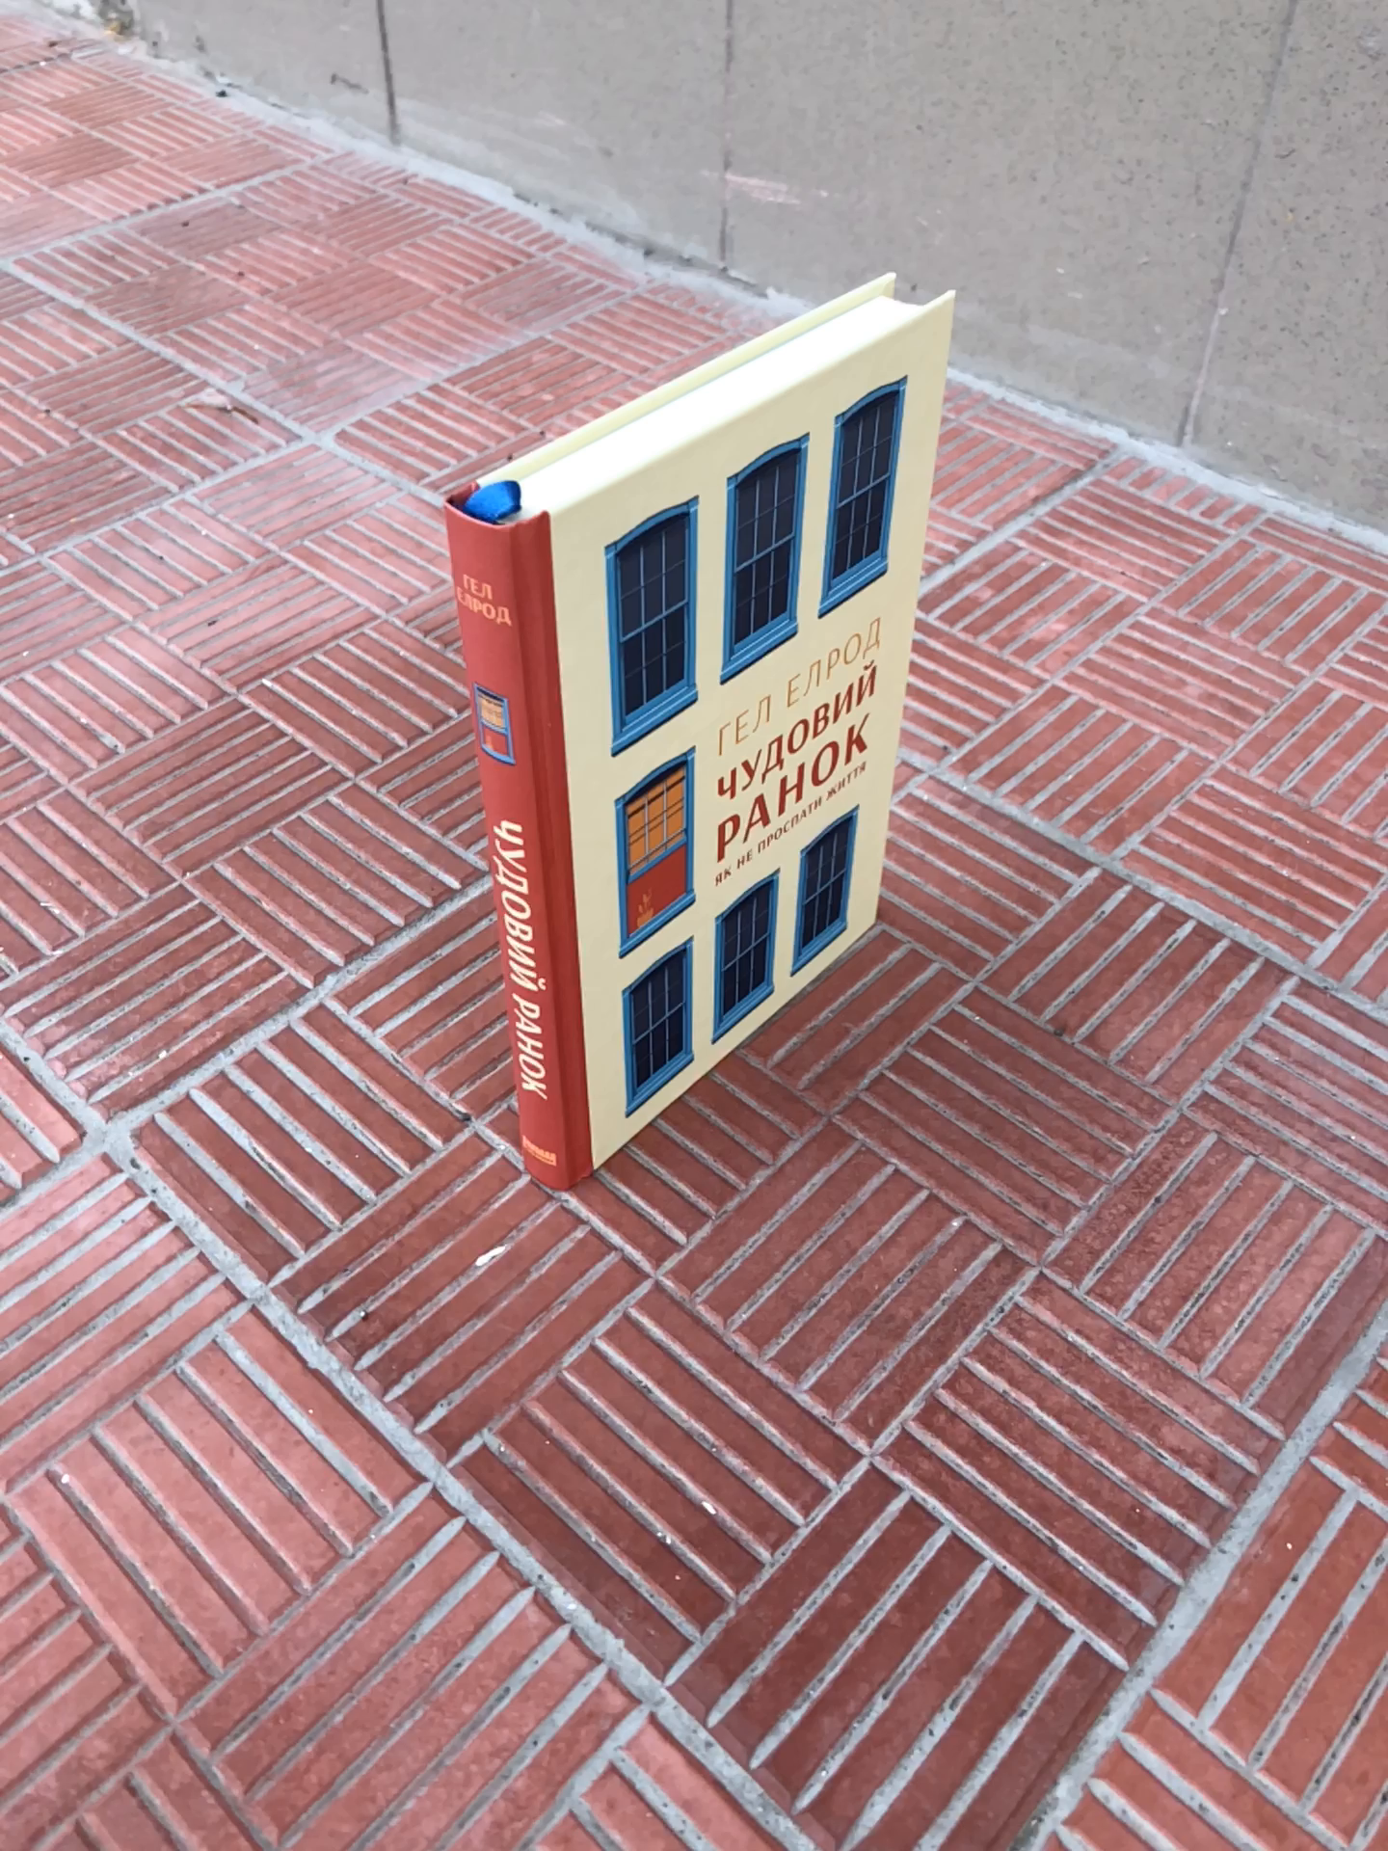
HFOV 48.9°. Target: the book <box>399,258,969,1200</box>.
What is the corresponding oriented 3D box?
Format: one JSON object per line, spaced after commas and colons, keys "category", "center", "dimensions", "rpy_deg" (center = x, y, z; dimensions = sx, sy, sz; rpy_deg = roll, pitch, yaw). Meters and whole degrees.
{"category": "book", "center": [0.005, -0.041, 0.379], "dimensions": [0.025, 0.196, 0.145], "rpy_deg": [32, 53, 28]}
